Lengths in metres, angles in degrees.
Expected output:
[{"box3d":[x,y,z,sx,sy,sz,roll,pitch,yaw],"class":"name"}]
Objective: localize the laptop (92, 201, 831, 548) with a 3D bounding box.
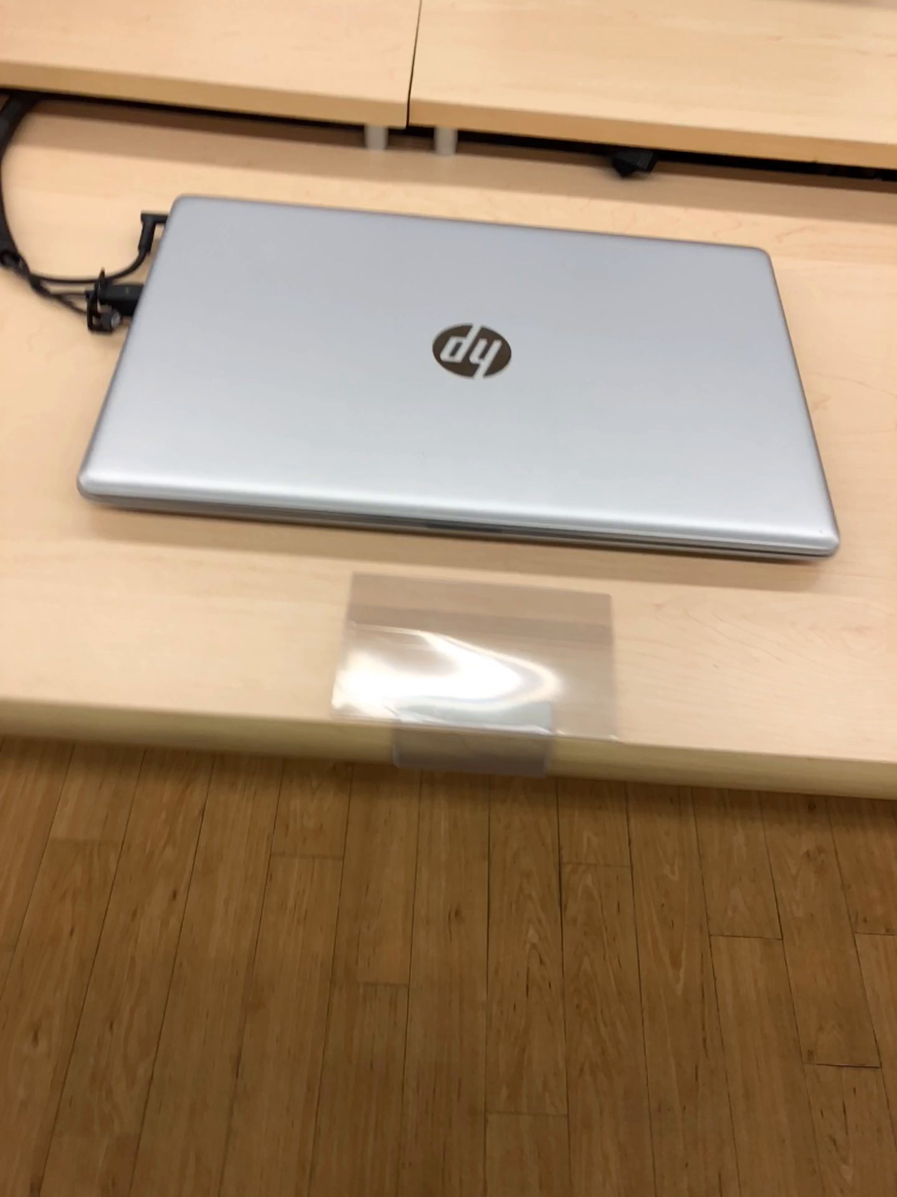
[{"box3d":[0.014,-0.149,0.601,0.397,0.001,0.258,4,55,-2],"class":"laptop"}]
